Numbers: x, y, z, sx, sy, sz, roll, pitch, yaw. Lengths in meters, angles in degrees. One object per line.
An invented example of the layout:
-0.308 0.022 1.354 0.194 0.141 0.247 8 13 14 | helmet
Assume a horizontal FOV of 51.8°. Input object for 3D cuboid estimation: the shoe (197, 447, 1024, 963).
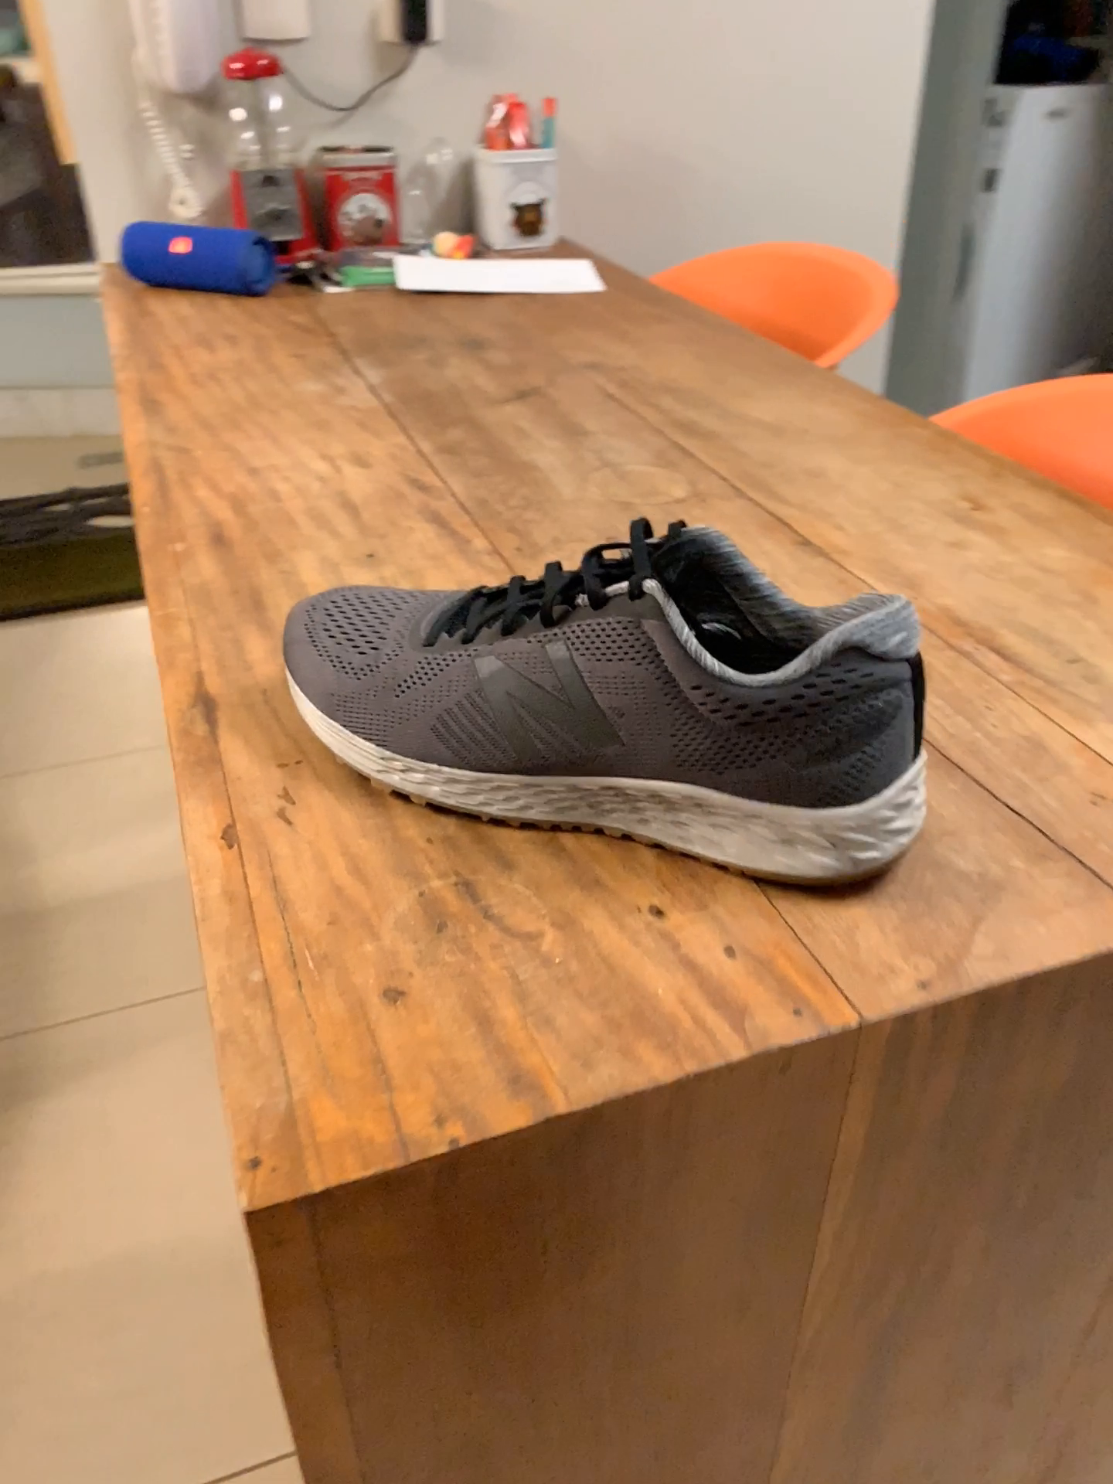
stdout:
0.016 -0.031 0.473 0.301 0.109 0.110 15 37 22 | shoe
